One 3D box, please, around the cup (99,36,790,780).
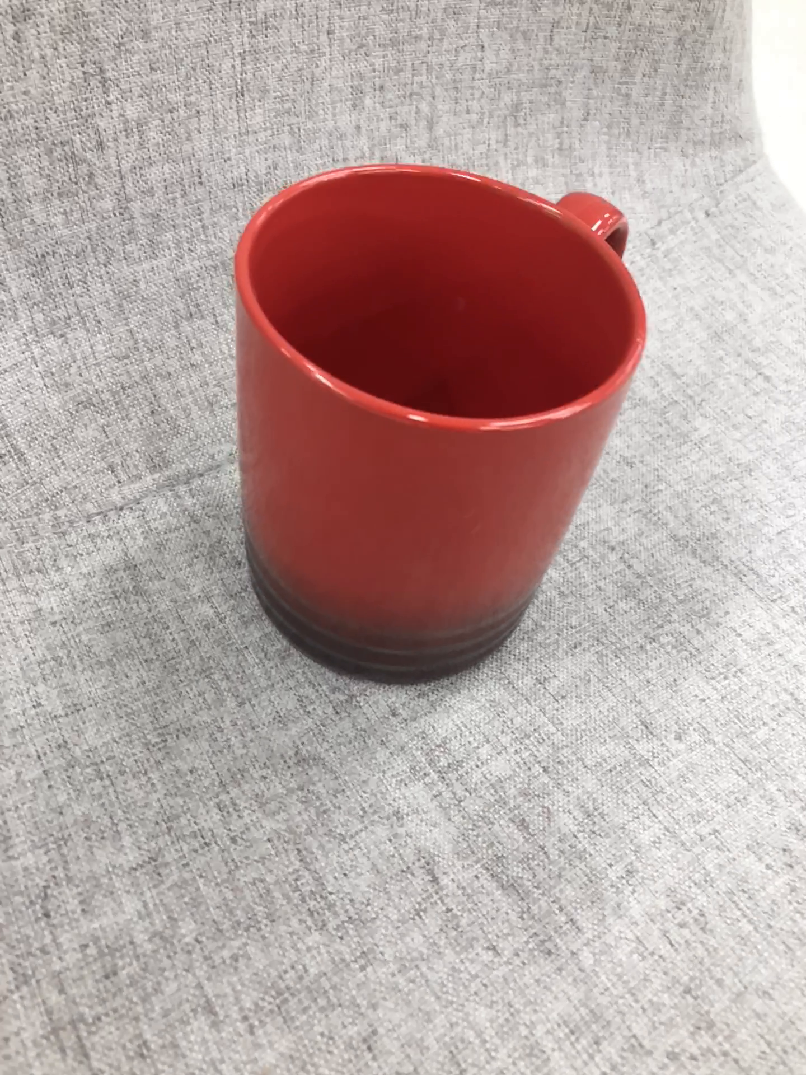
[{"bbox_3d":[0.013,-0.036,0.223,0.080,0.099,0.141,32,56,14],"label":"cup"}]
